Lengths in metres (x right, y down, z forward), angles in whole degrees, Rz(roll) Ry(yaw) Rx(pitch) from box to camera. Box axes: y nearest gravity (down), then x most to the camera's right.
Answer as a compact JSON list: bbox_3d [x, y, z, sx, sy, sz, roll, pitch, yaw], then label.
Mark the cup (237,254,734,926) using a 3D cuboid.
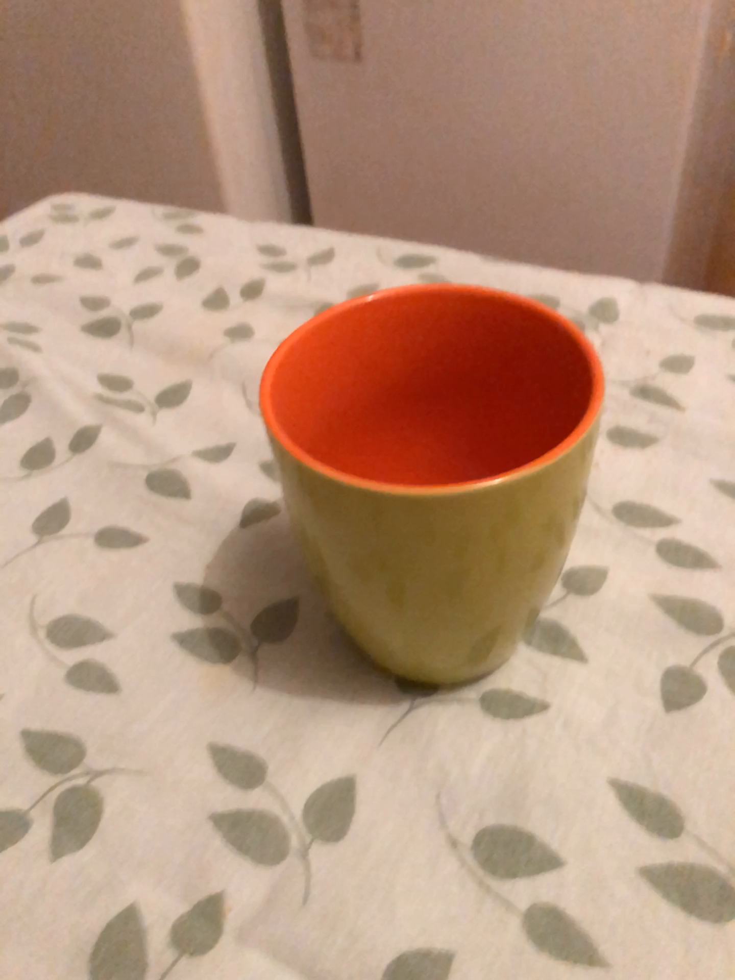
[{"bbox_3d":[0.035,0.017,0.211,0.090,0.089,0.121,-20,46,-14],"label":"cup"}]
